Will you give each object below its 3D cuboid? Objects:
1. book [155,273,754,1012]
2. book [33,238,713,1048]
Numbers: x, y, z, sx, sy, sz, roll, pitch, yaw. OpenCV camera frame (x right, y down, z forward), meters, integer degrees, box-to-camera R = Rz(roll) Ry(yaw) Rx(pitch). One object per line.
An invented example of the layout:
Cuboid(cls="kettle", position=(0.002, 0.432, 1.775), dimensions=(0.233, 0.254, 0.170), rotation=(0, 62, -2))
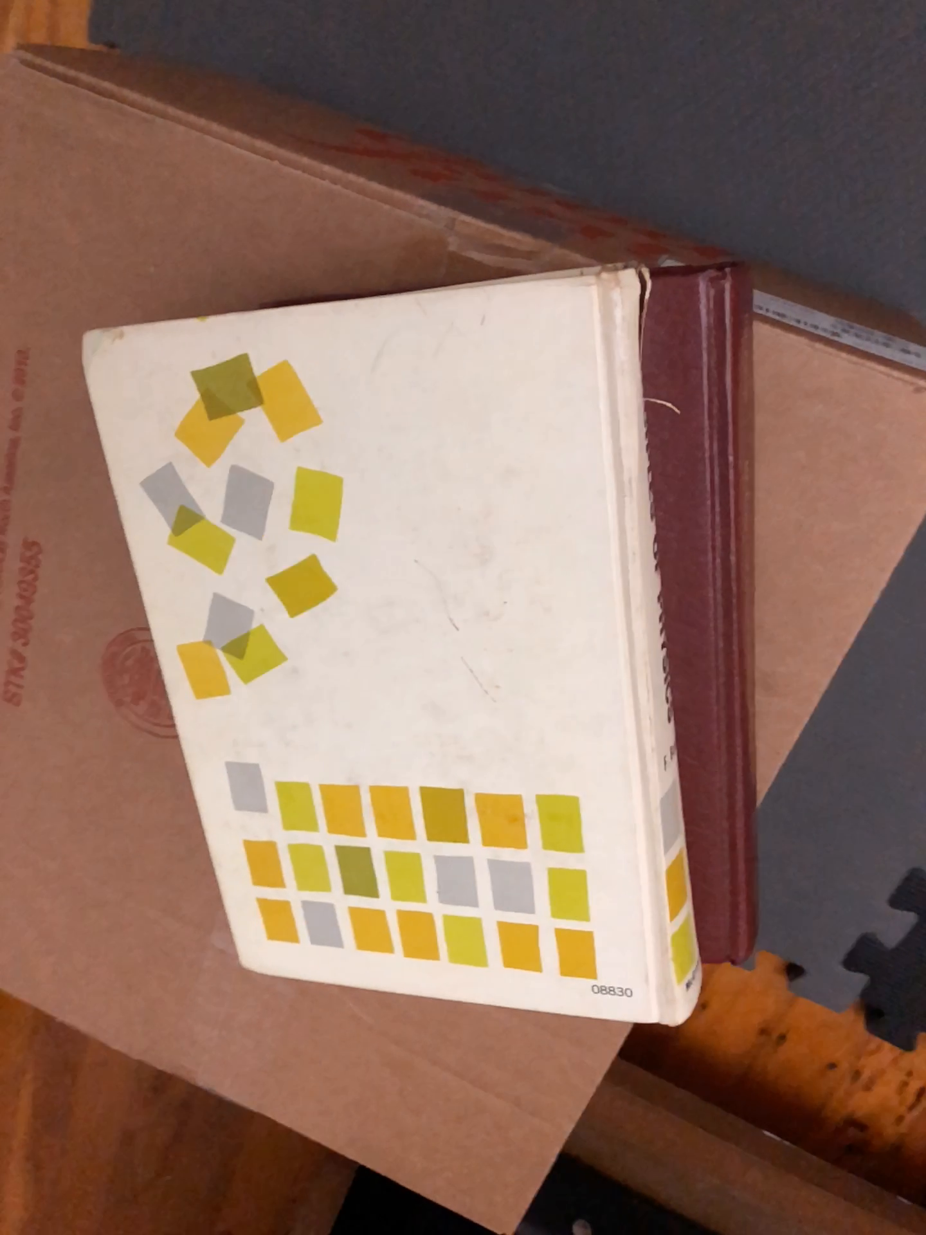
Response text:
Cuboid(cls="book", position=(0.006, 0.017, 0.363), dimensions=(0.180, 0.040, 0.250), rotation=(2, 115, 17))
Cuboid(cls="book", position=(-0.017, 0.021, 0.336), dimensions=(0.180, 0.040, 0.250), rotation=(-1, 114, 18))
